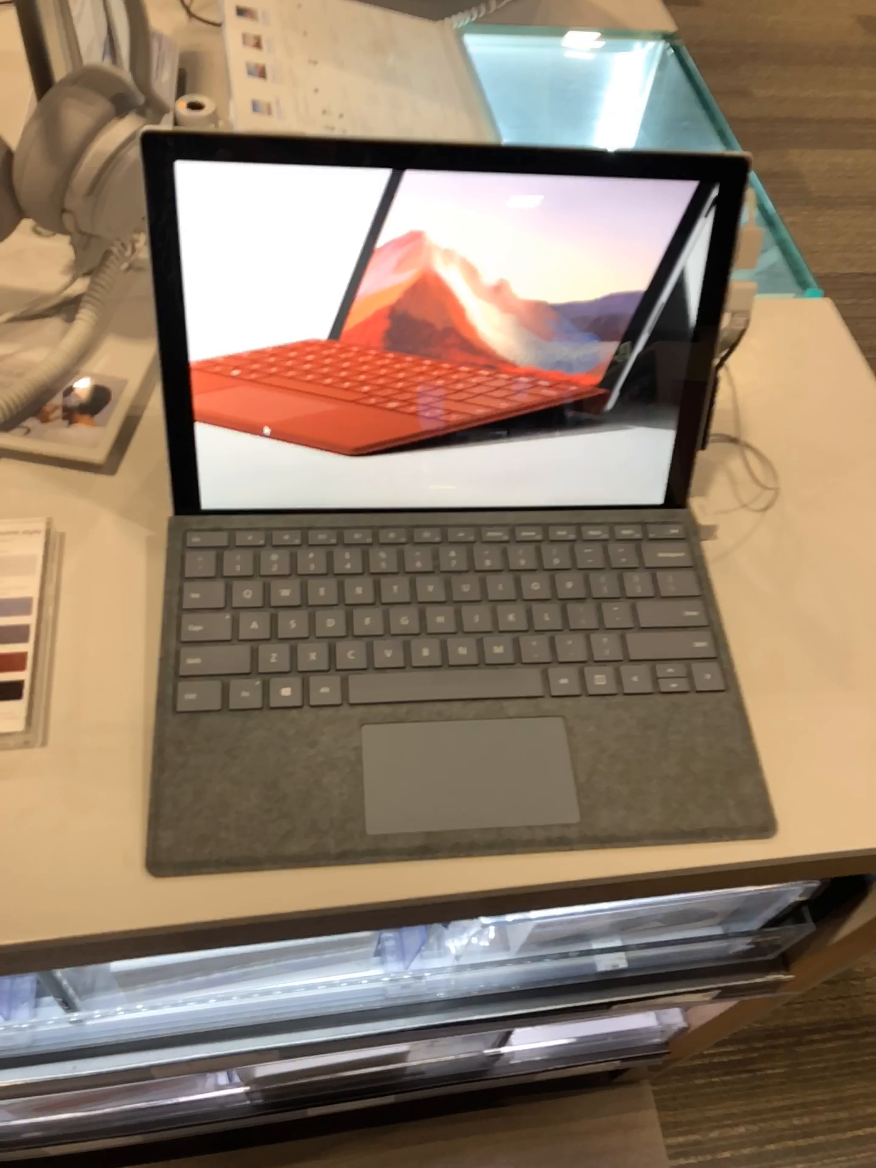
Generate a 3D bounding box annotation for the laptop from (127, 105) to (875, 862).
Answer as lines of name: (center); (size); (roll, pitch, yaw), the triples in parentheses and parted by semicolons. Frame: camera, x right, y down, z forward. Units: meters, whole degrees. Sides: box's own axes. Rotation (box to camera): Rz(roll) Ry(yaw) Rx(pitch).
laptop: (0.025, -0.054, 0.429); (0.261, 0.143, 0.284); (-1, 60, -4)
